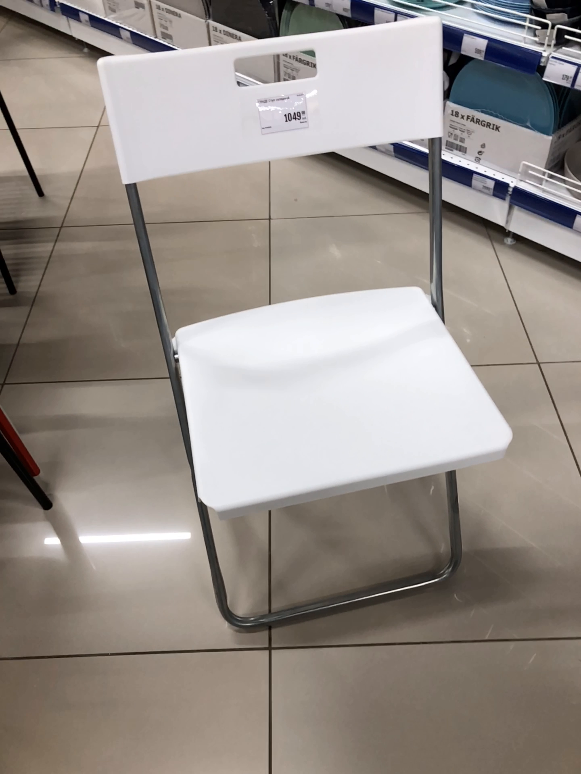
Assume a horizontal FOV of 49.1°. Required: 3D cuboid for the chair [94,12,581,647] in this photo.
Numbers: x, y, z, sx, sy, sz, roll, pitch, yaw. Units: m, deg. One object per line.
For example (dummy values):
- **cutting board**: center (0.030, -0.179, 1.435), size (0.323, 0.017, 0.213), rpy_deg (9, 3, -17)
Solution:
- **chair**: center (0.041, -0.030, 0.882), size (0.425, 0.711, 0.433), rpy_deg (-11, 49, -7)
